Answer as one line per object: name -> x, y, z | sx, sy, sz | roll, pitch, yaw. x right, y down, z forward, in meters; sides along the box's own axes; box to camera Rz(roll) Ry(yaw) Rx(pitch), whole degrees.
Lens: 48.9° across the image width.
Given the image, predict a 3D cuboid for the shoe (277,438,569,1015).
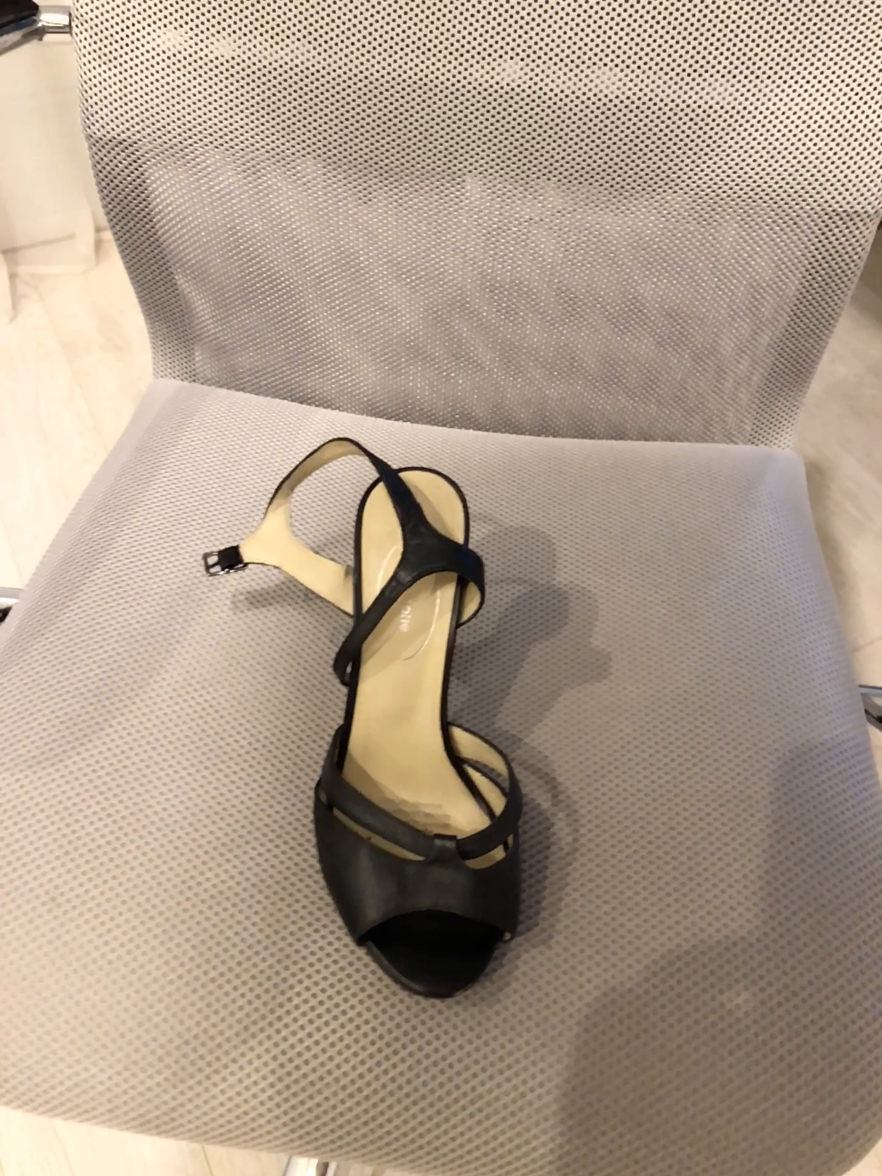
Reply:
shoe -> -0.007, 0.053, 0.412 | 0.090, 0.119, 0.211 | 0, 51, -1
